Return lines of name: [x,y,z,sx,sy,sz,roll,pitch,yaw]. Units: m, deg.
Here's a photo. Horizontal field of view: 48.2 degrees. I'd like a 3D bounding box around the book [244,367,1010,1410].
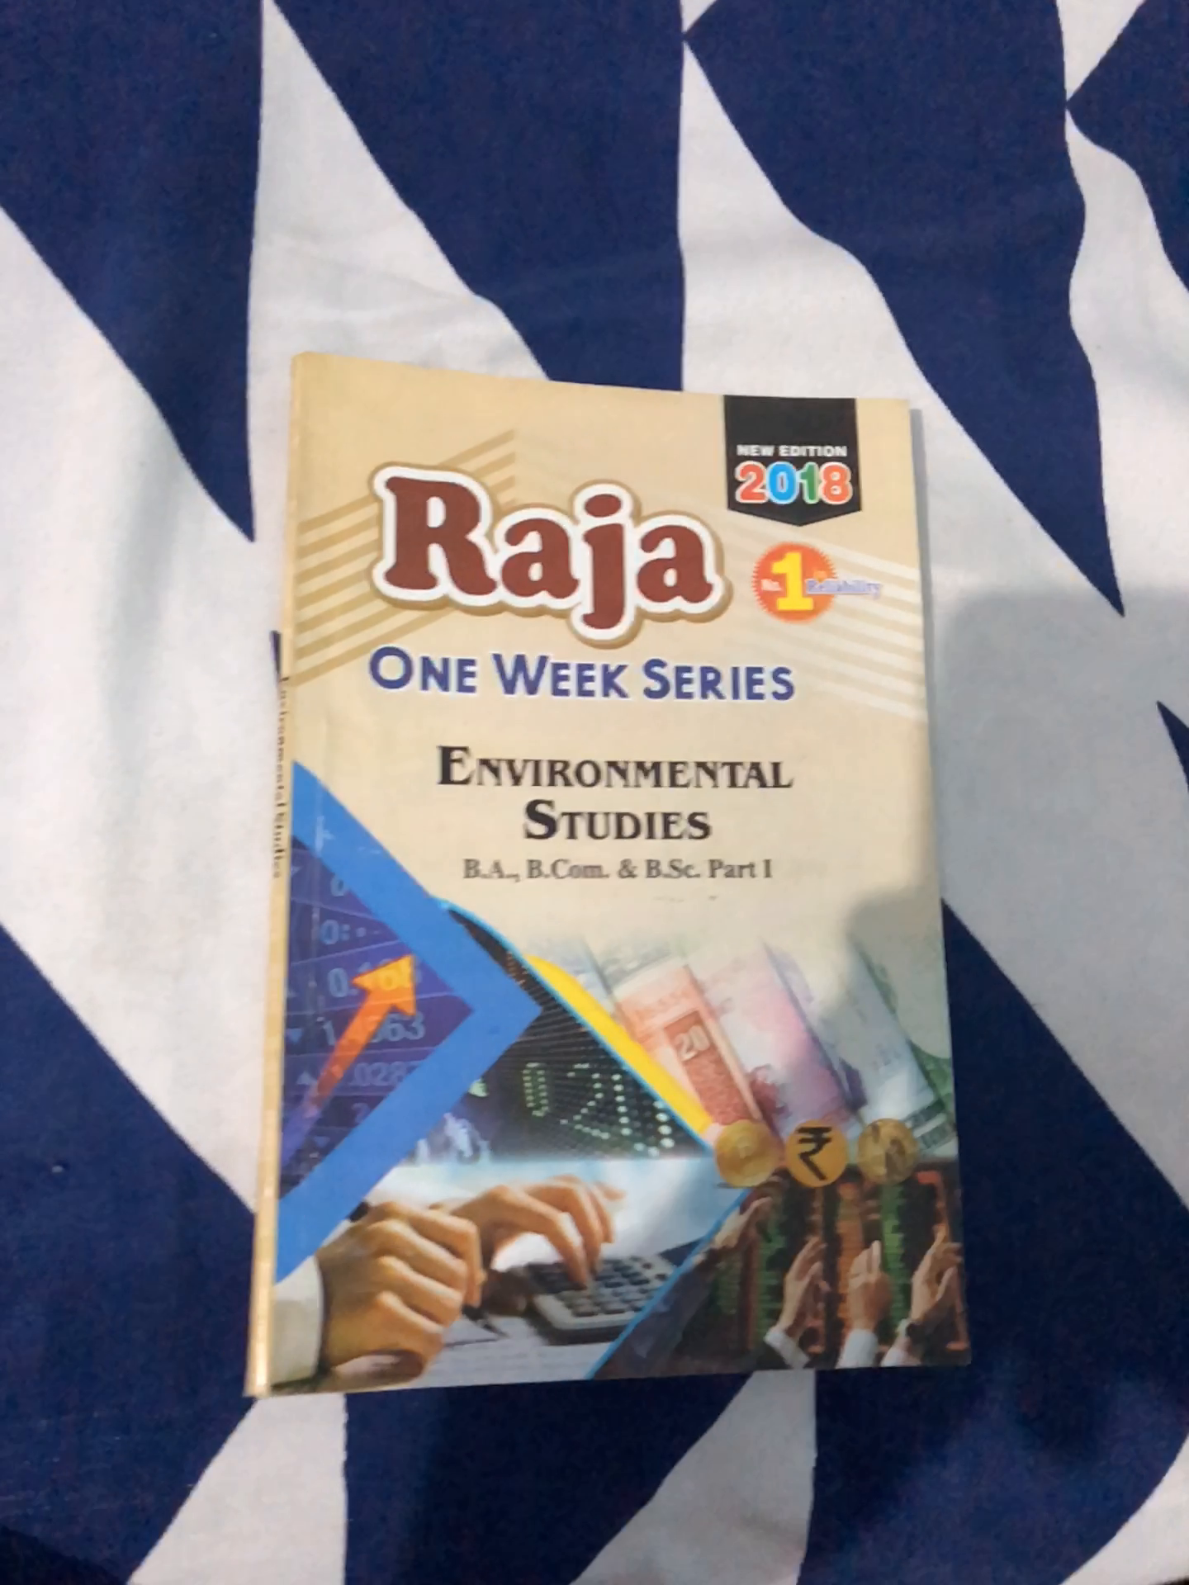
book: [0.007,0.012,0.266,0.140,0.010,0.200,1,78,-7]
